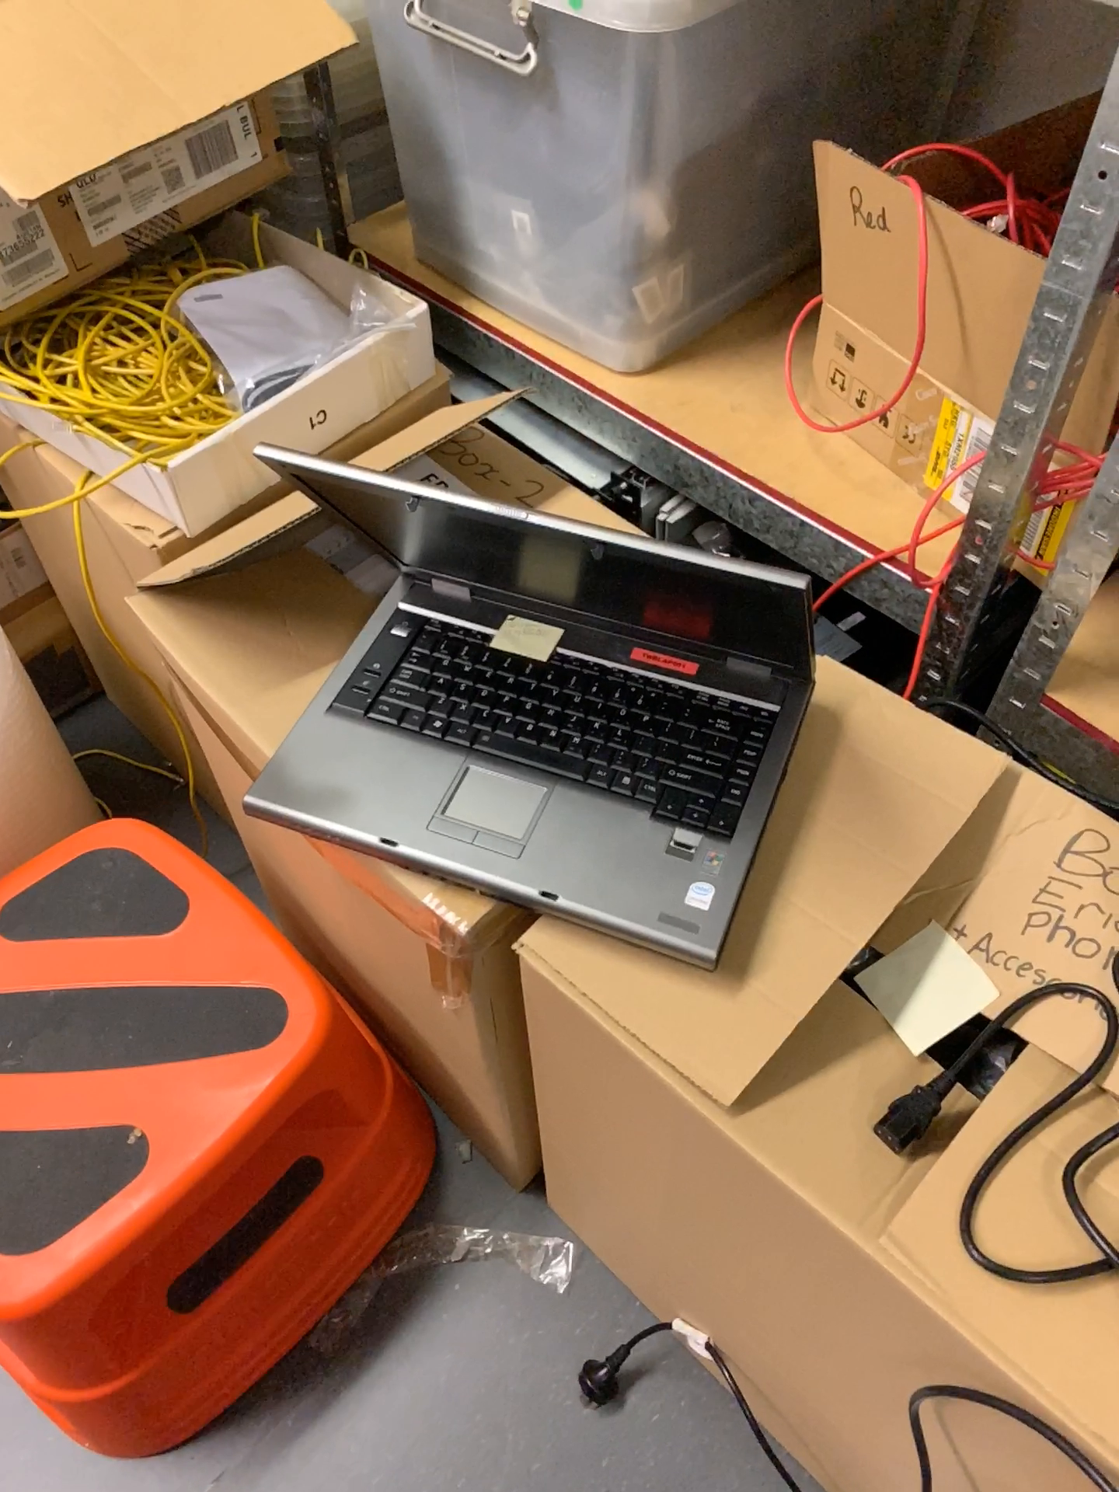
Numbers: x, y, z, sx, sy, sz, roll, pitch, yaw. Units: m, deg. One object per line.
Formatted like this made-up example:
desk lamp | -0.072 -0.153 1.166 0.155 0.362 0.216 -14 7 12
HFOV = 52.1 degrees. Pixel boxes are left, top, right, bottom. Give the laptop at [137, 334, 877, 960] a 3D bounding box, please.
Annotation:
laptop | -0.020 -0.076 0.762 0.360 0.238 0.263 16 52 15
